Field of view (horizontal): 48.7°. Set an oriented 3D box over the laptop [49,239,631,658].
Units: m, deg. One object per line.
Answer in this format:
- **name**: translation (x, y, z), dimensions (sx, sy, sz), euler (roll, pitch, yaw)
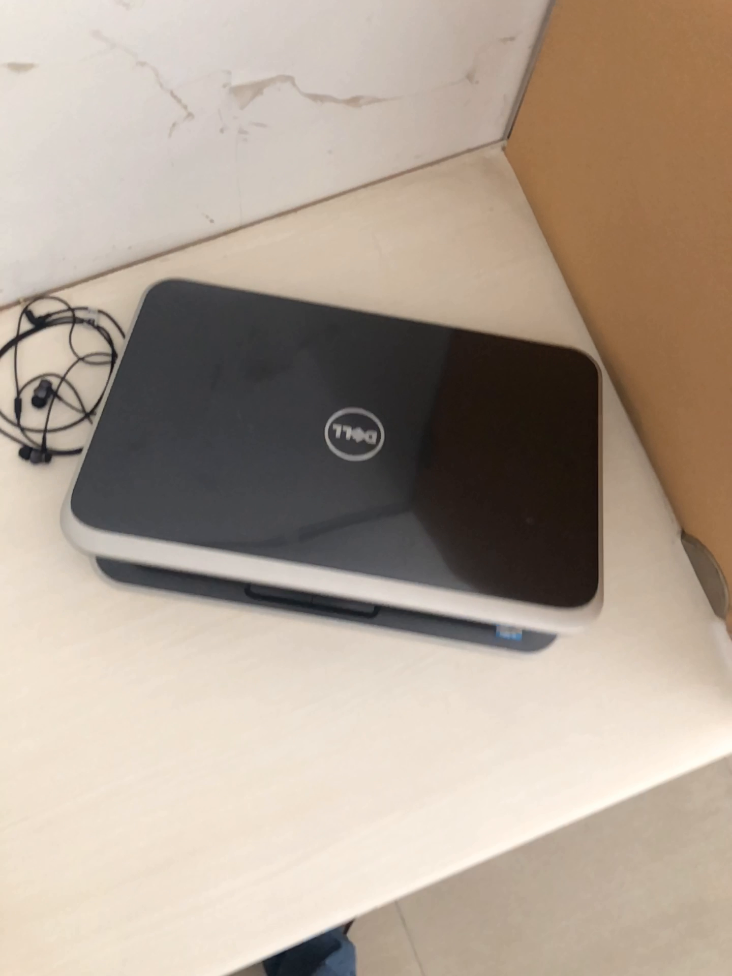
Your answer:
- **laptop**: translation (-0.010, -0.025, 0.597), dimensions (0.357, 0.094, 0.238), euler (10, 77, 0)
